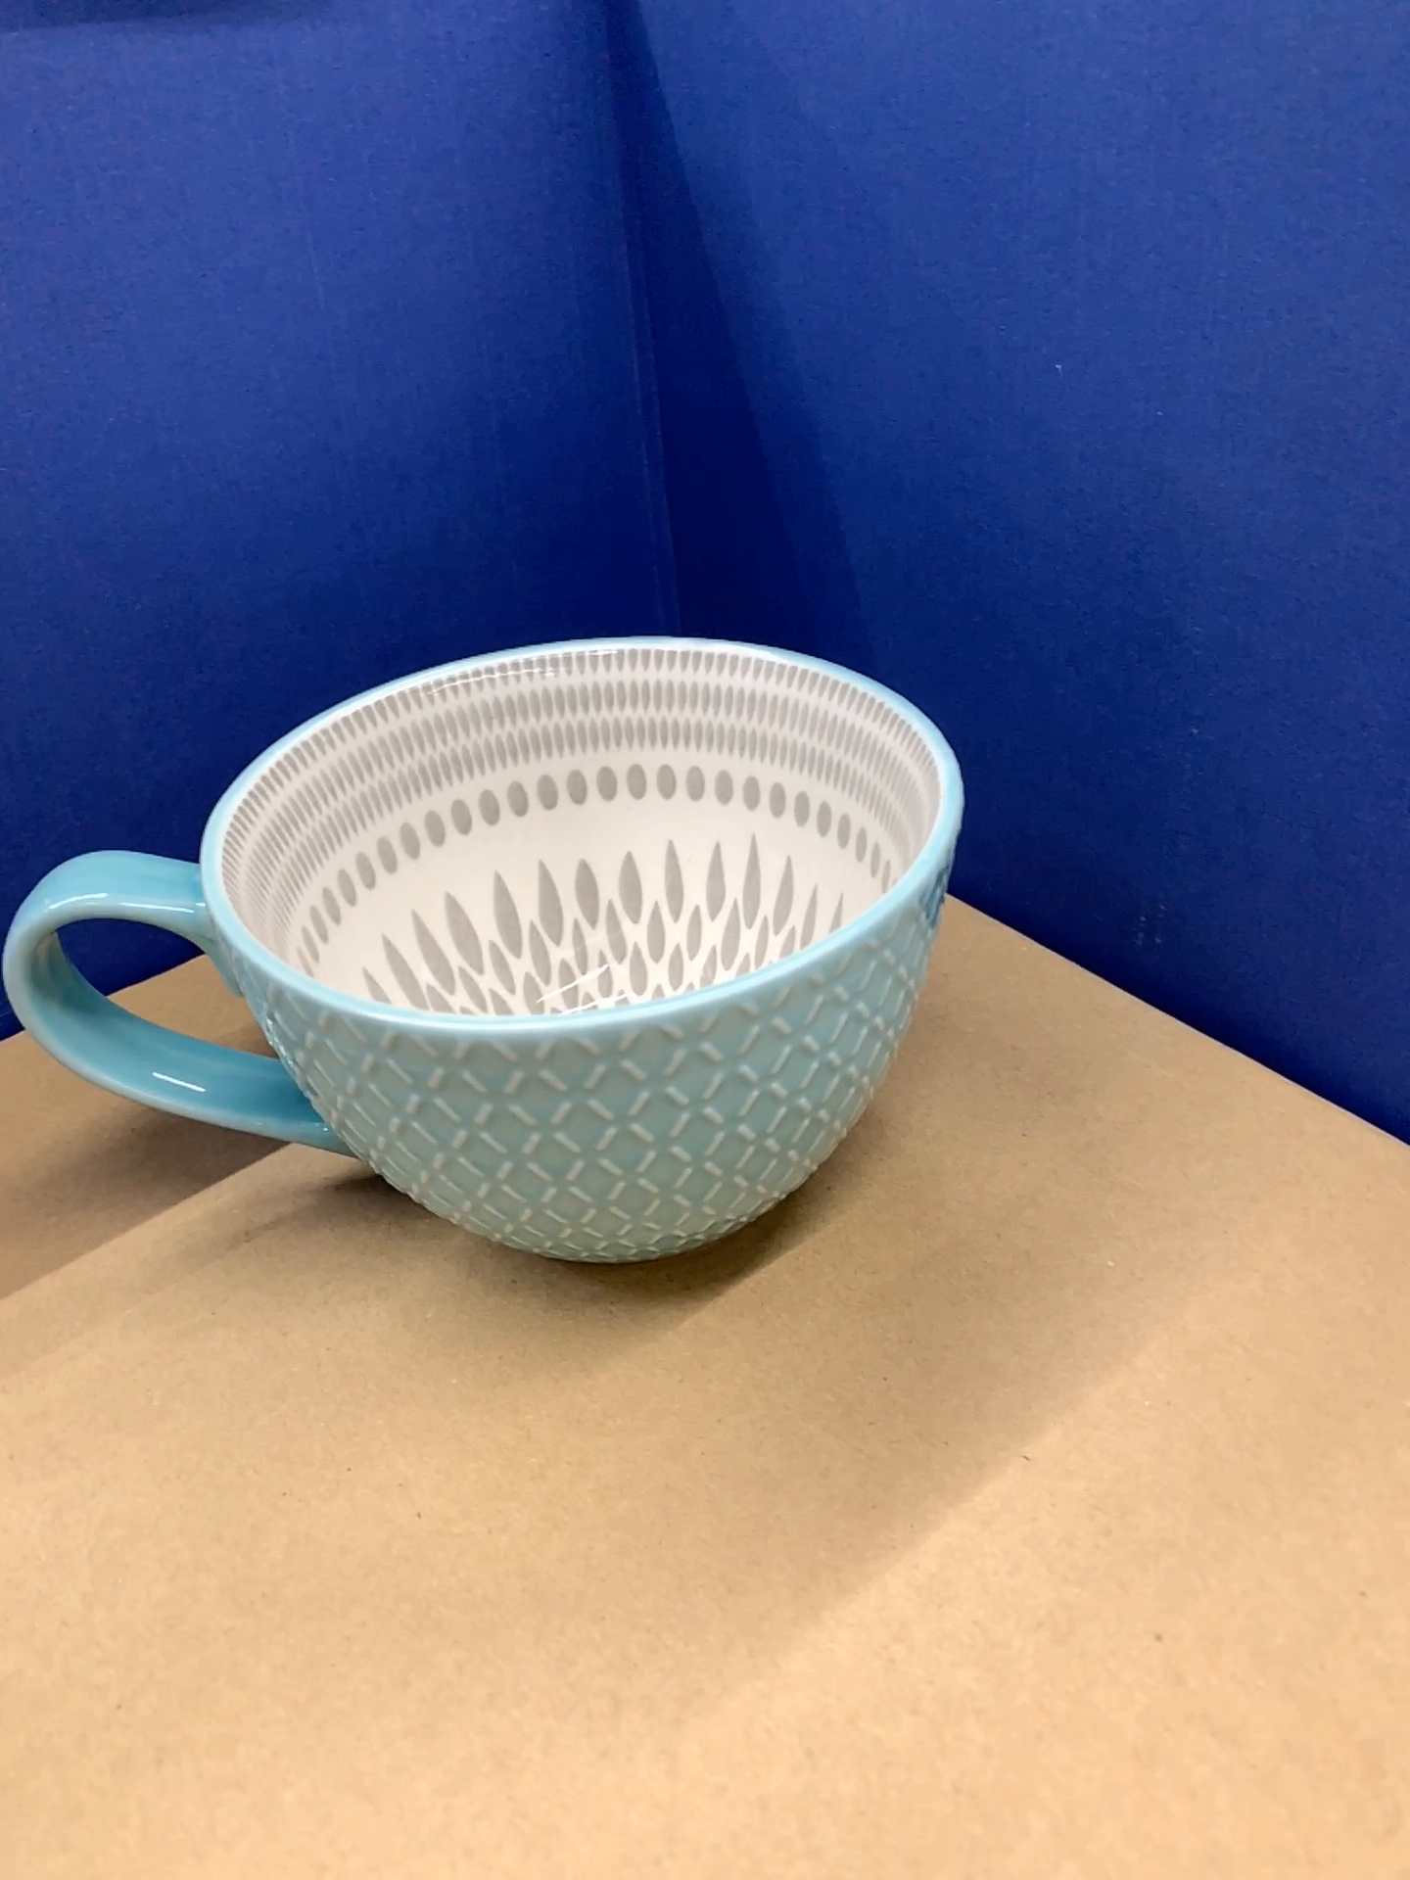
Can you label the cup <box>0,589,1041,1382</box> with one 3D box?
[{"bbox_3d":[-0.036,0.000,0.236,0.152,0.059,0.113,-4,37,1],"label":"cup"}]
